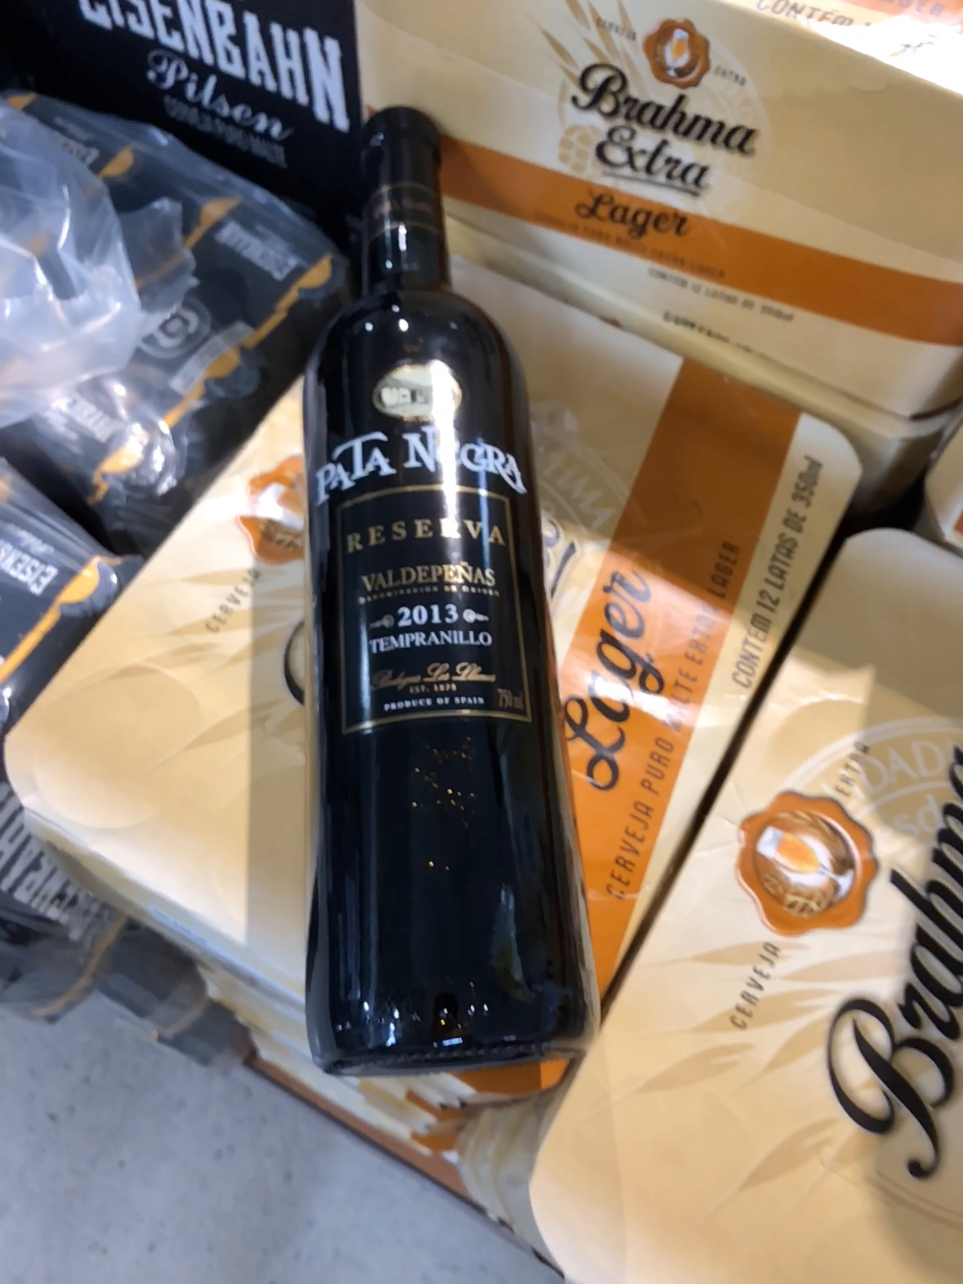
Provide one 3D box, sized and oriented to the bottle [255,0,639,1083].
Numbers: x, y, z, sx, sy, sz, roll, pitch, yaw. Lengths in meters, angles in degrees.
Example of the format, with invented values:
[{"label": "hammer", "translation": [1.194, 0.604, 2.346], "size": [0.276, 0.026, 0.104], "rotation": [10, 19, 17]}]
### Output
[{"label": "bottle", "translation": [-0.021, -0.071, 0.340], "size": [0.080, 0.080, 0.381], "rotation": [-3, 66, -3]}]
